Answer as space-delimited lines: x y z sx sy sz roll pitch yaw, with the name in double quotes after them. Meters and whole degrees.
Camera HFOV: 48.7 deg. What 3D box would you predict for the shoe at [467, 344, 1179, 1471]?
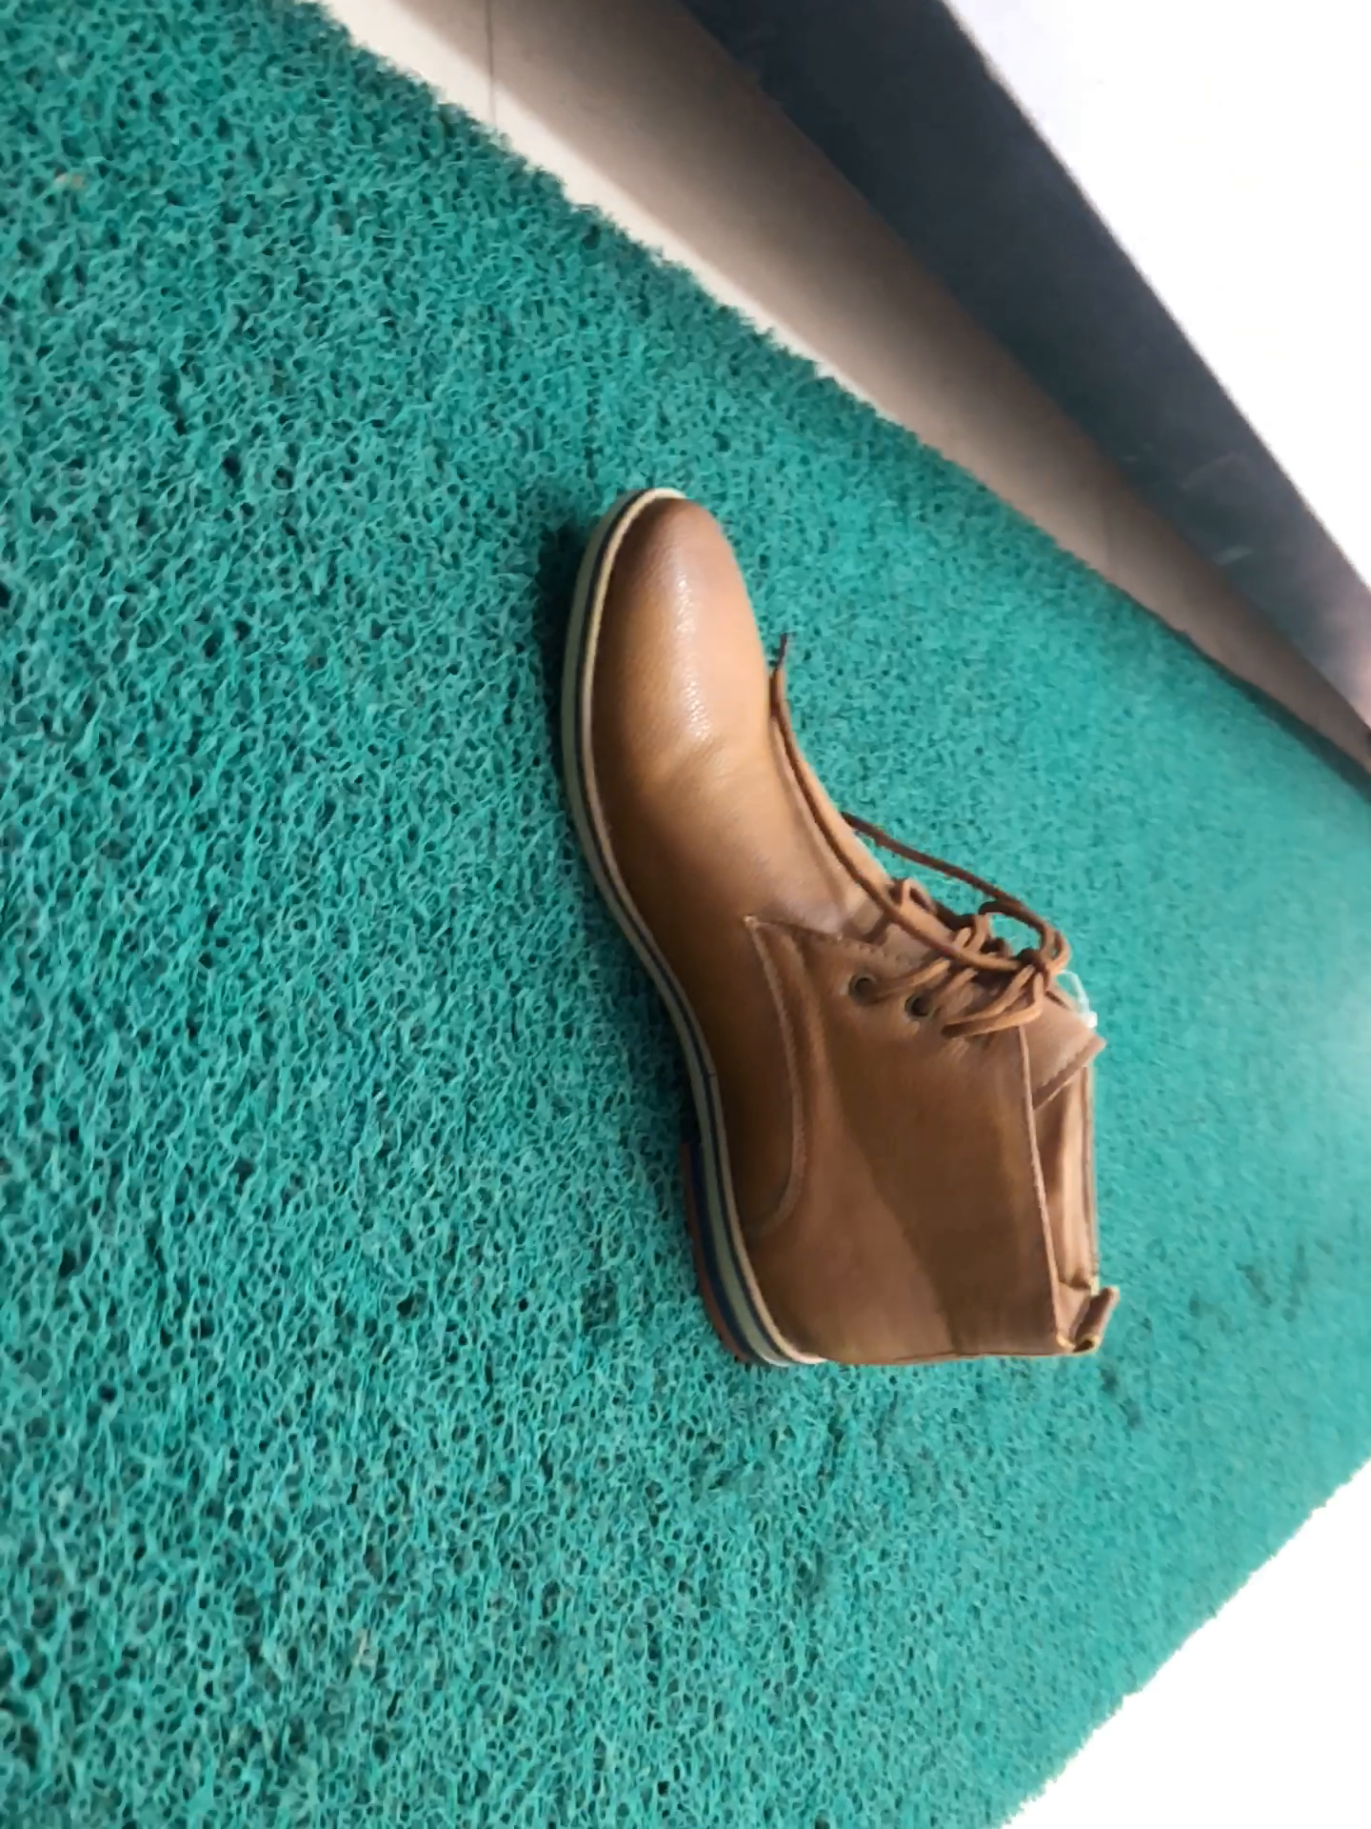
0.053 -0.002 0.479 0.121 0.109 0.310 -26 103 -54 "shoe"
